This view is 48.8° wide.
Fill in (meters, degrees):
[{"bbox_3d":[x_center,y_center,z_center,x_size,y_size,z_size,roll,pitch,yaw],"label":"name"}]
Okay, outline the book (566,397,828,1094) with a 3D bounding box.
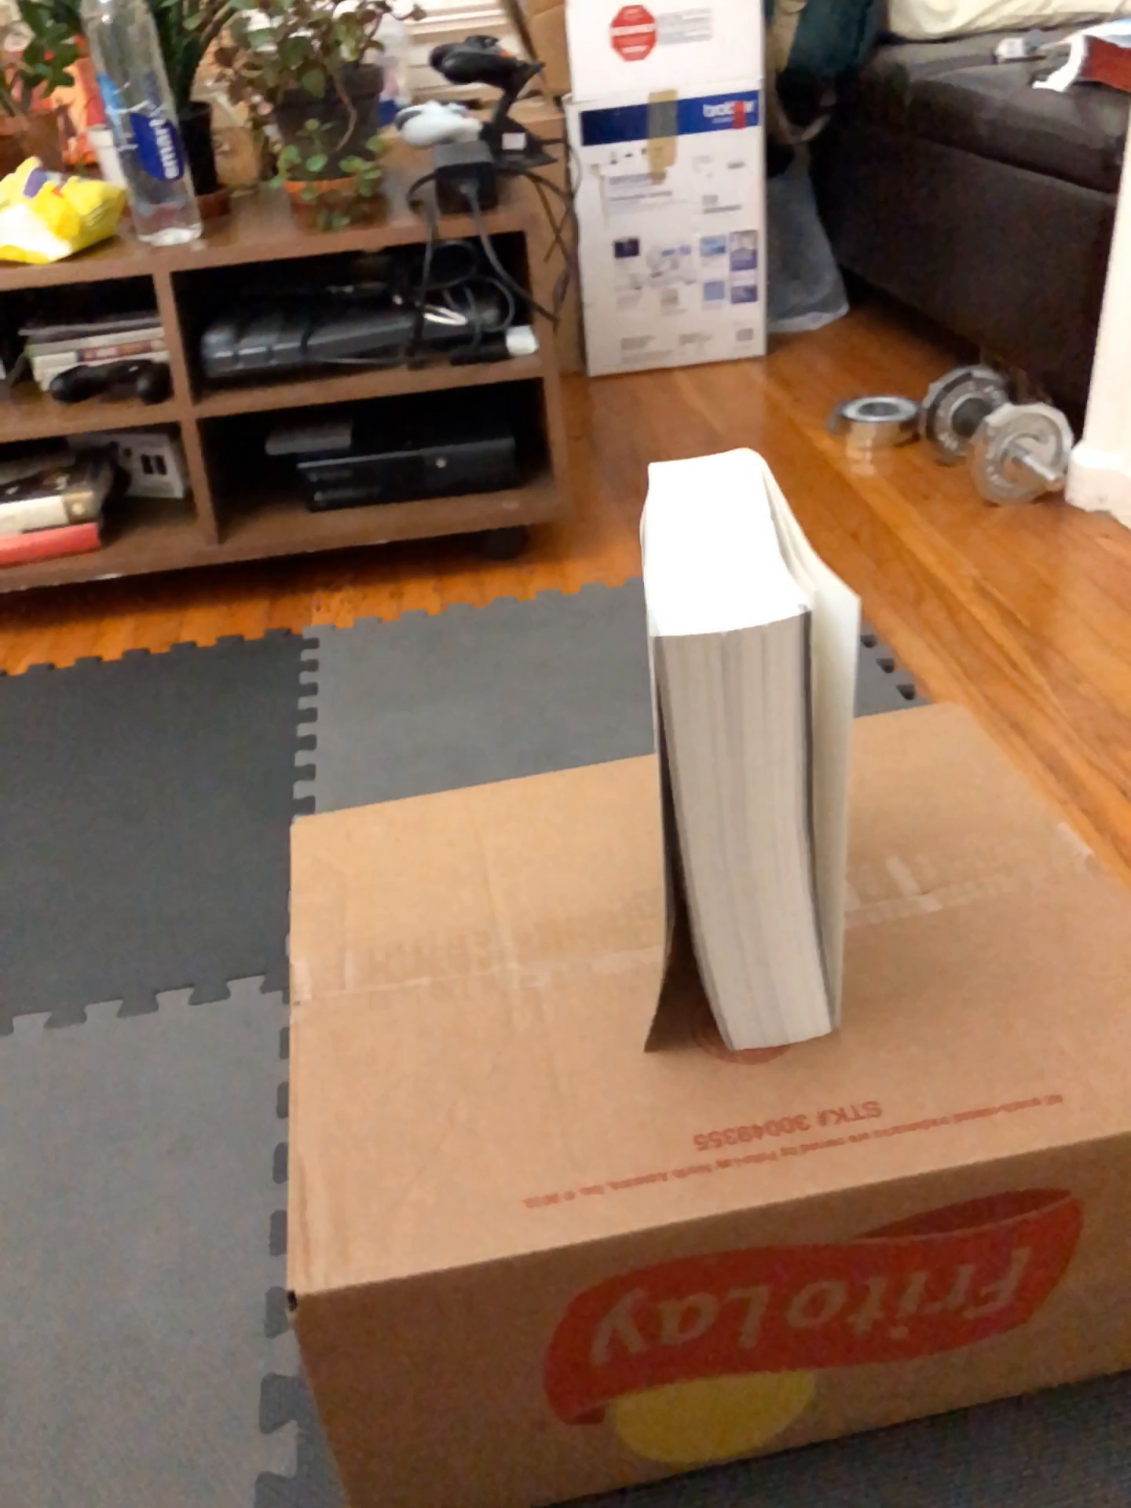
[{"bbox_3d":[0.066,-0.007,0.594,0.090,0.259,0.201,-4,33,7],"label":"book"}]
